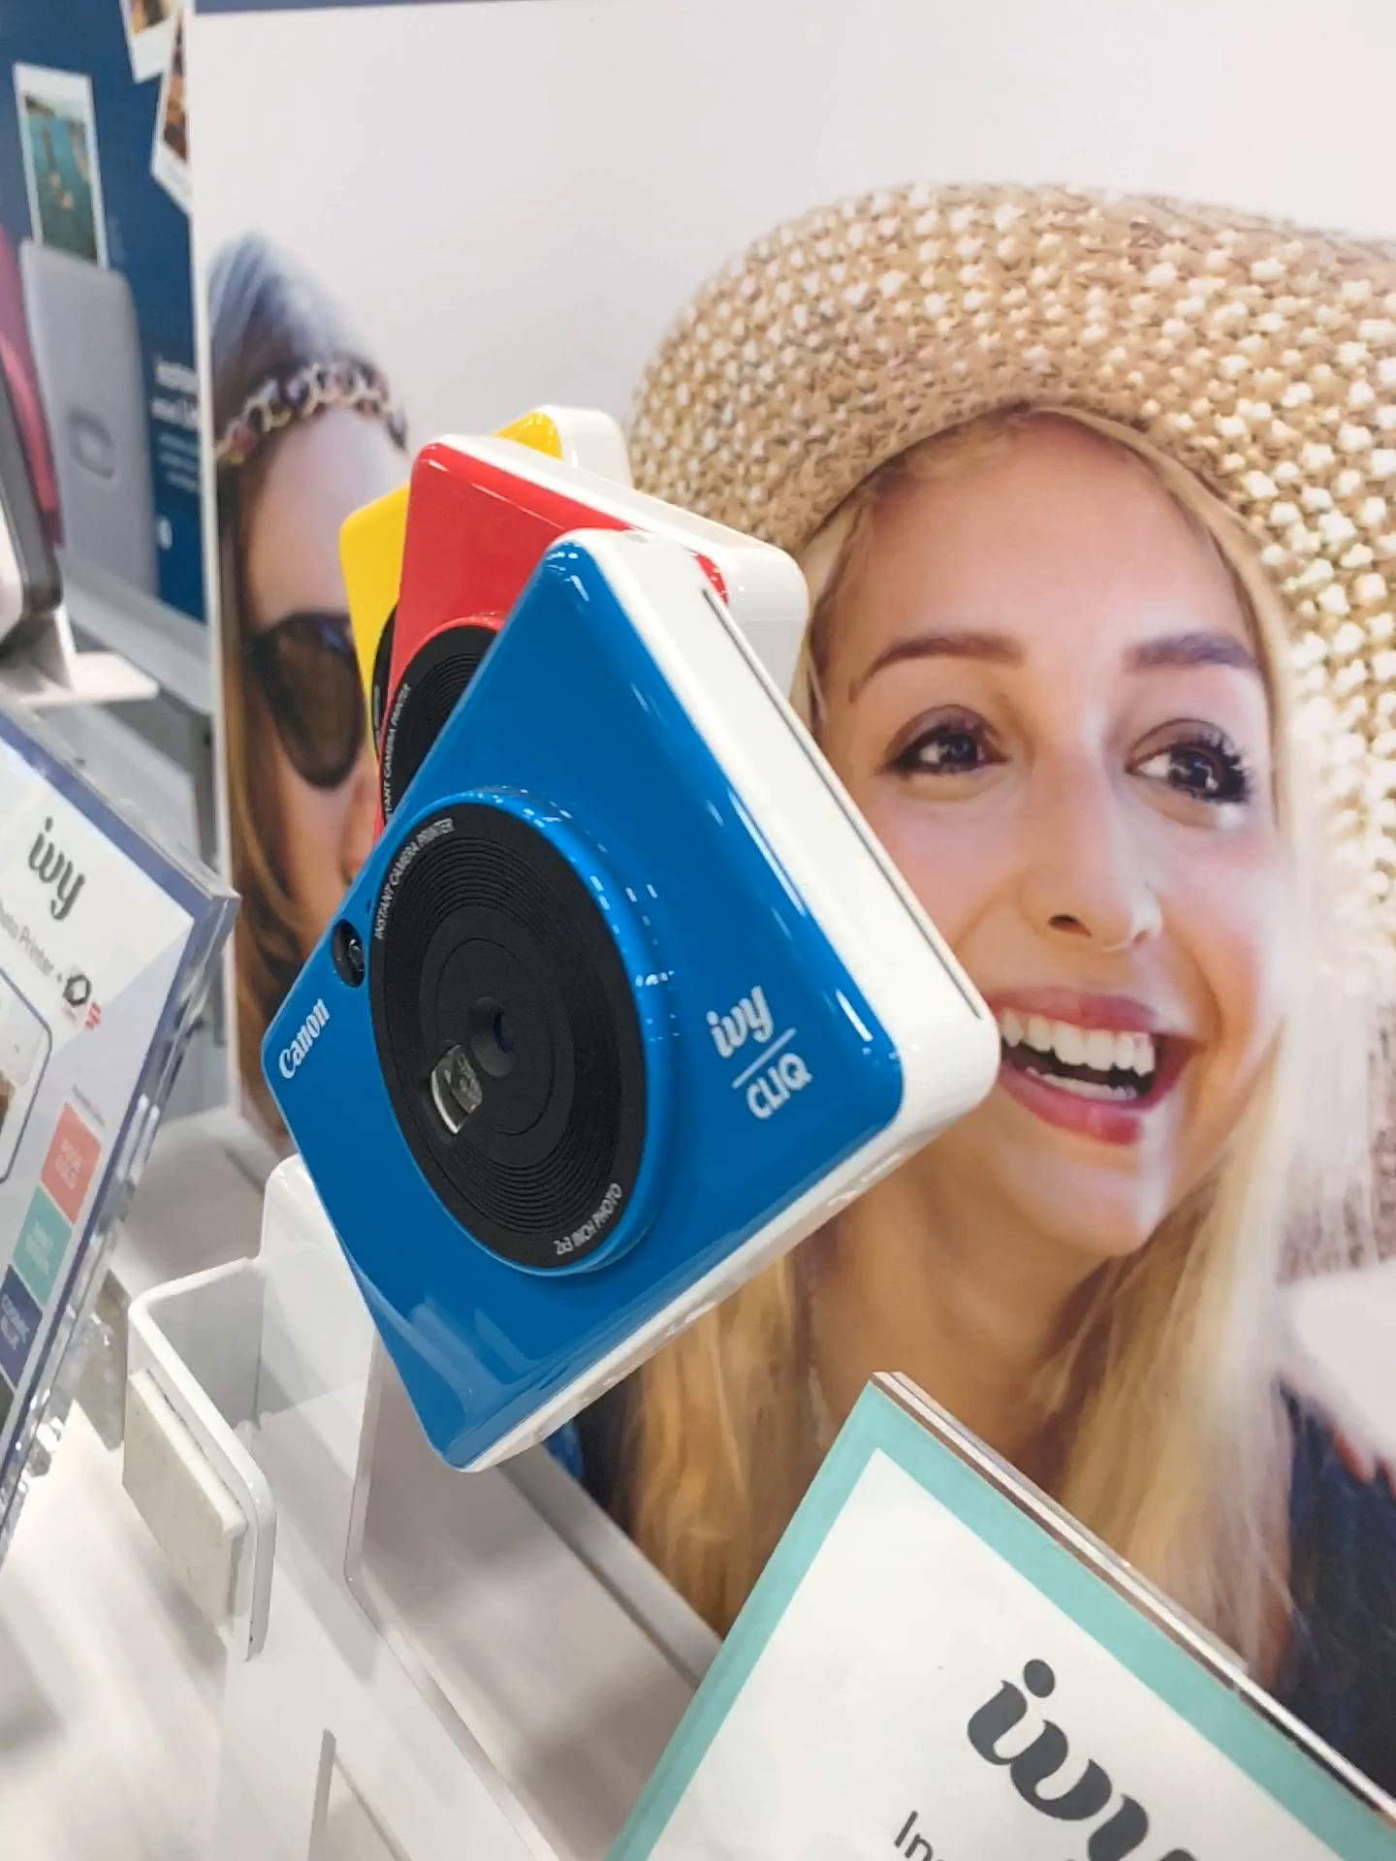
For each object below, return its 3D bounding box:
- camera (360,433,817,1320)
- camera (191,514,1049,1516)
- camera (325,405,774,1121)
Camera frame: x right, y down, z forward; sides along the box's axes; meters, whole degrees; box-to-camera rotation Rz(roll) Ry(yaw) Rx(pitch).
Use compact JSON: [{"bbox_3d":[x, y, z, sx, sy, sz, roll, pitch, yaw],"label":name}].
[{"bbox_3d":[-0.024,-0.009,0.236,0.030,0.123,0.067,-13,35,-35],"label":"camera"},{"bbox_3d":[-0.022,0.017,0.188,0.030,0.113,0.078,-15,67,-41],"label":"camera"},{"bbox_3d":[-0.031,-0.029,0.287,0.030,0.123,0.068,-18,9,-34],"label":"camera"}]
